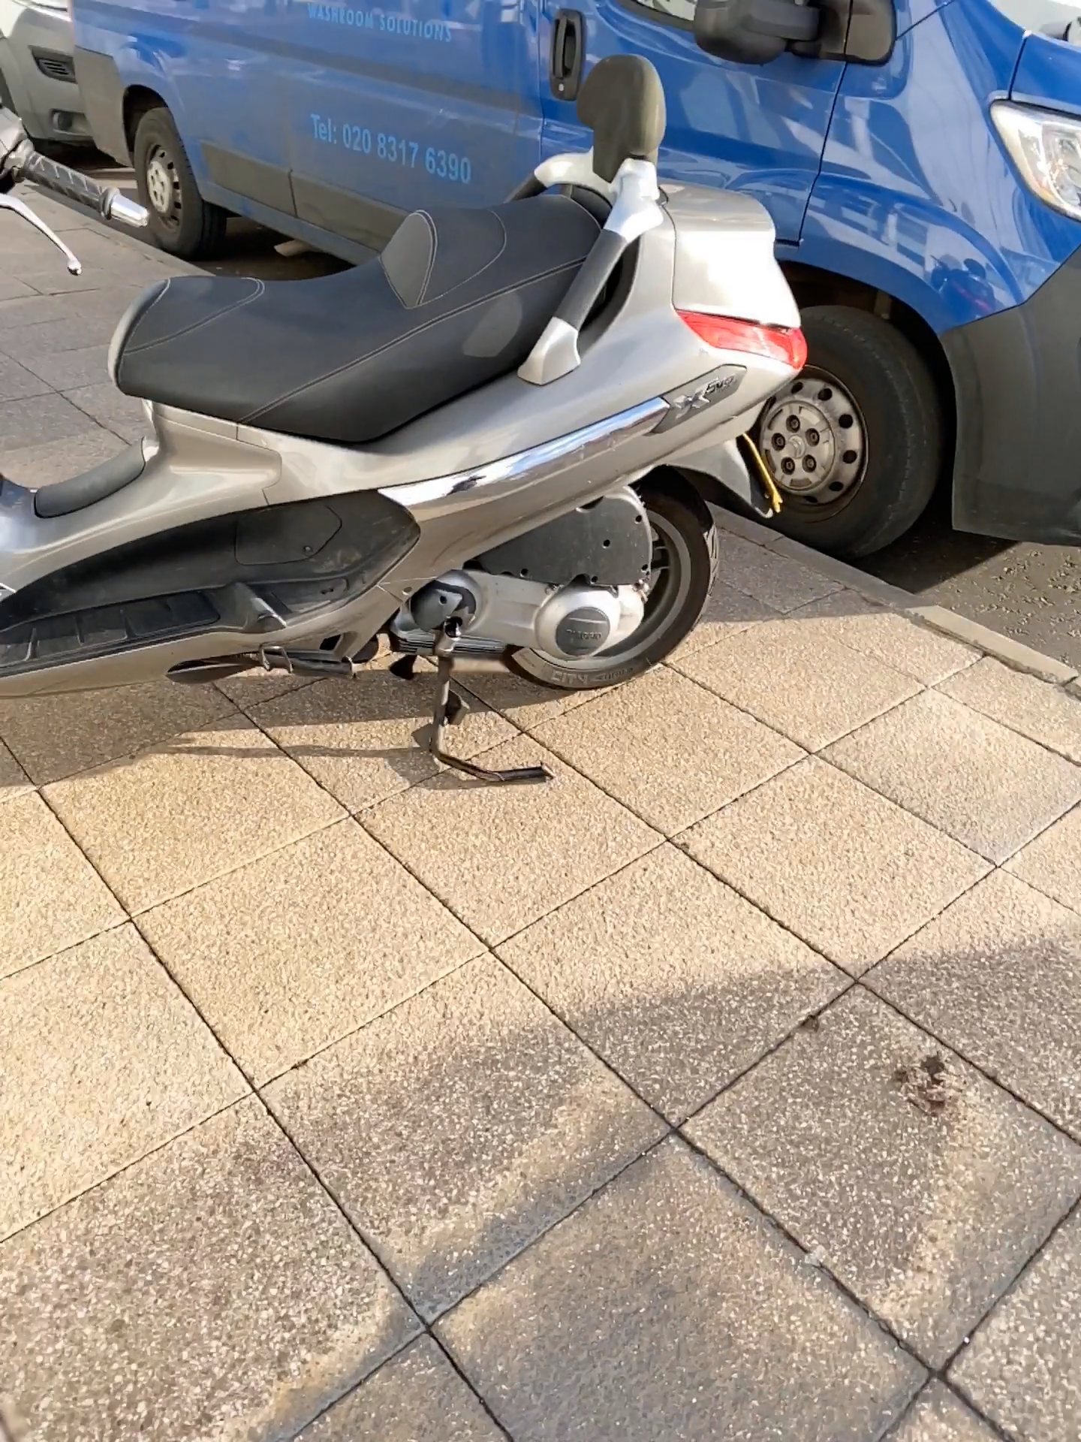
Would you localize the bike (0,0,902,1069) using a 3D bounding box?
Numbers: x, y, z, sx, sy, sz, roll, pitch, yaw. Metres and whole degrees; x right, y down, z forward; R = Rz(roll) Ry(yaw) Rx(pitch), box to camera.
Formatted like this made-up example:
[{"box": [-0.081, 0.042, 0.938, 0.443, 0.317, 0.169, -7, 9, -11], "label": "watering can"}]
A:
[{"box": [-0.477, -0.379, 1.480, 1.655, 1.062, 0.657, -11, 37, -18], "label": "bike"}]
